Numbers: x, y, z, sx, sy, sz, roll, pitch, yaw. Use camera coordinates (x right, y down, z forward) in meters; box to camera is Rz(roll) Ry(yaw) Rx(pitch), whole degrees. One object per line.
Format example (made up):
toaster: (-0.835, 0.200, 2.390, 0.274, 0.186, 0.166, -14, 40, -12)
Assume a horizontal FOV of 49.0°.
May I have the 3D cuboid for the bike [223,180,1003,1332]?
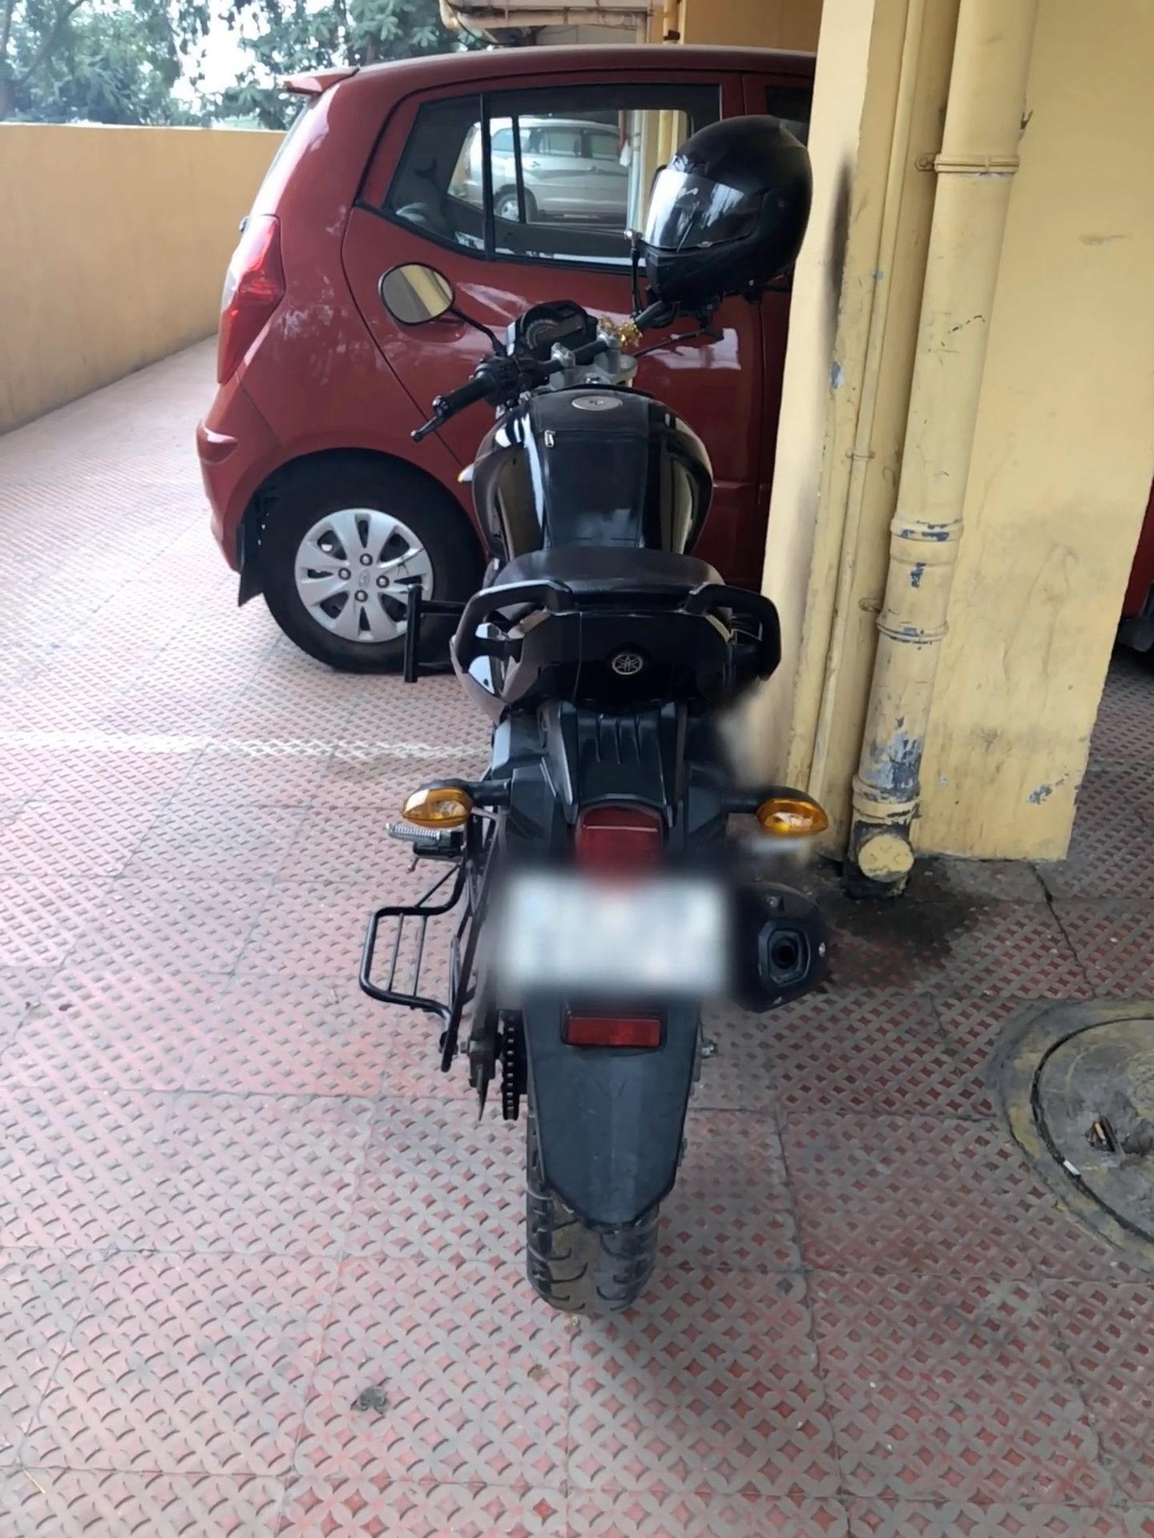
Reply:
bike: (-0.110, -0.268, 2.001, 0.609, 1.052, 1.809, -1, 28, -8)
